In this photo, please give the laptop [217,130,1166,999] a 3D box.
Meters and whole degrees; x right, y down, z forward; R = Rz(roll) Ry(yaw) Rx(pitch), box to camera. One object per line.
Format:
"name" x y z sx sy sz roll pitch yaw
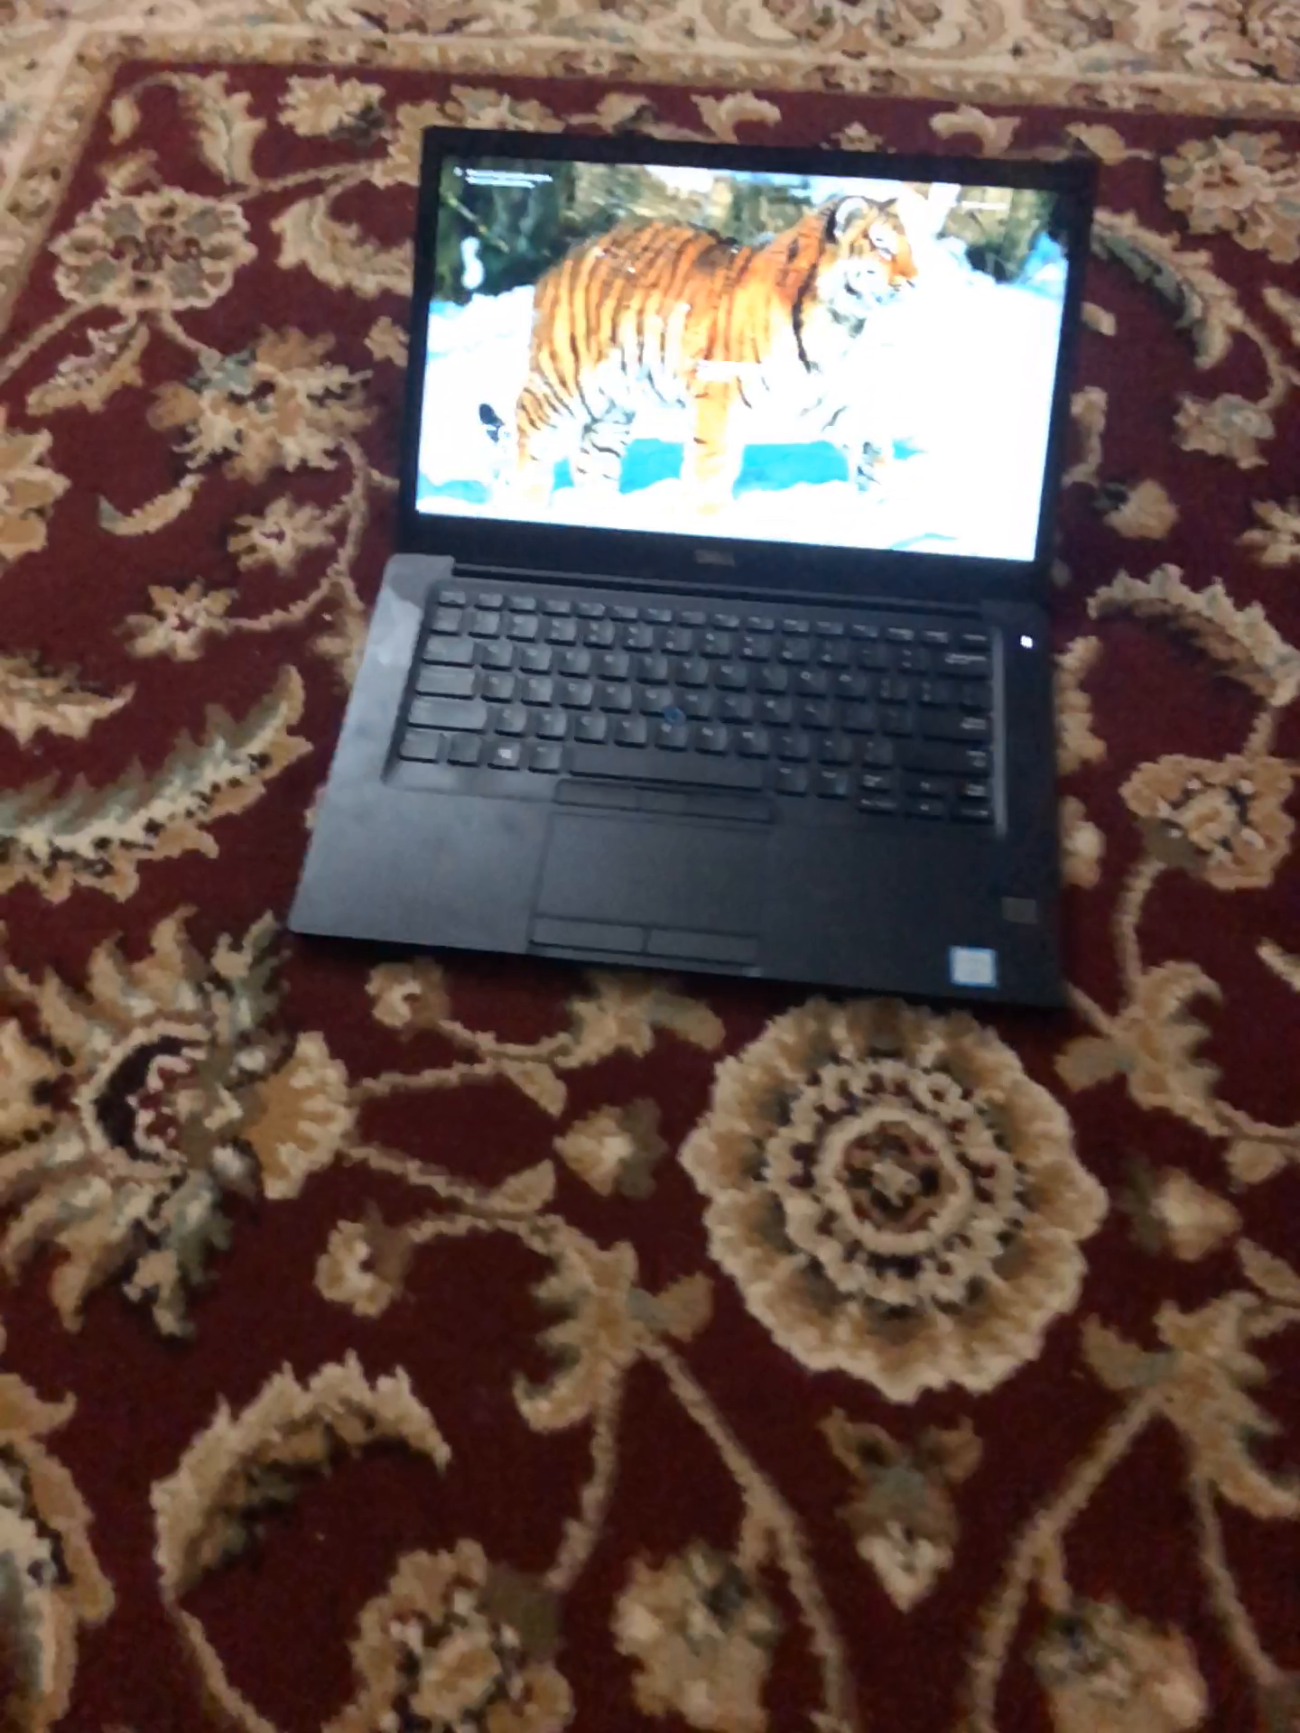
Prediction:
"laptop" 0.032 -0.154 0.645 0.328 0.124 0.384 5 59 4
